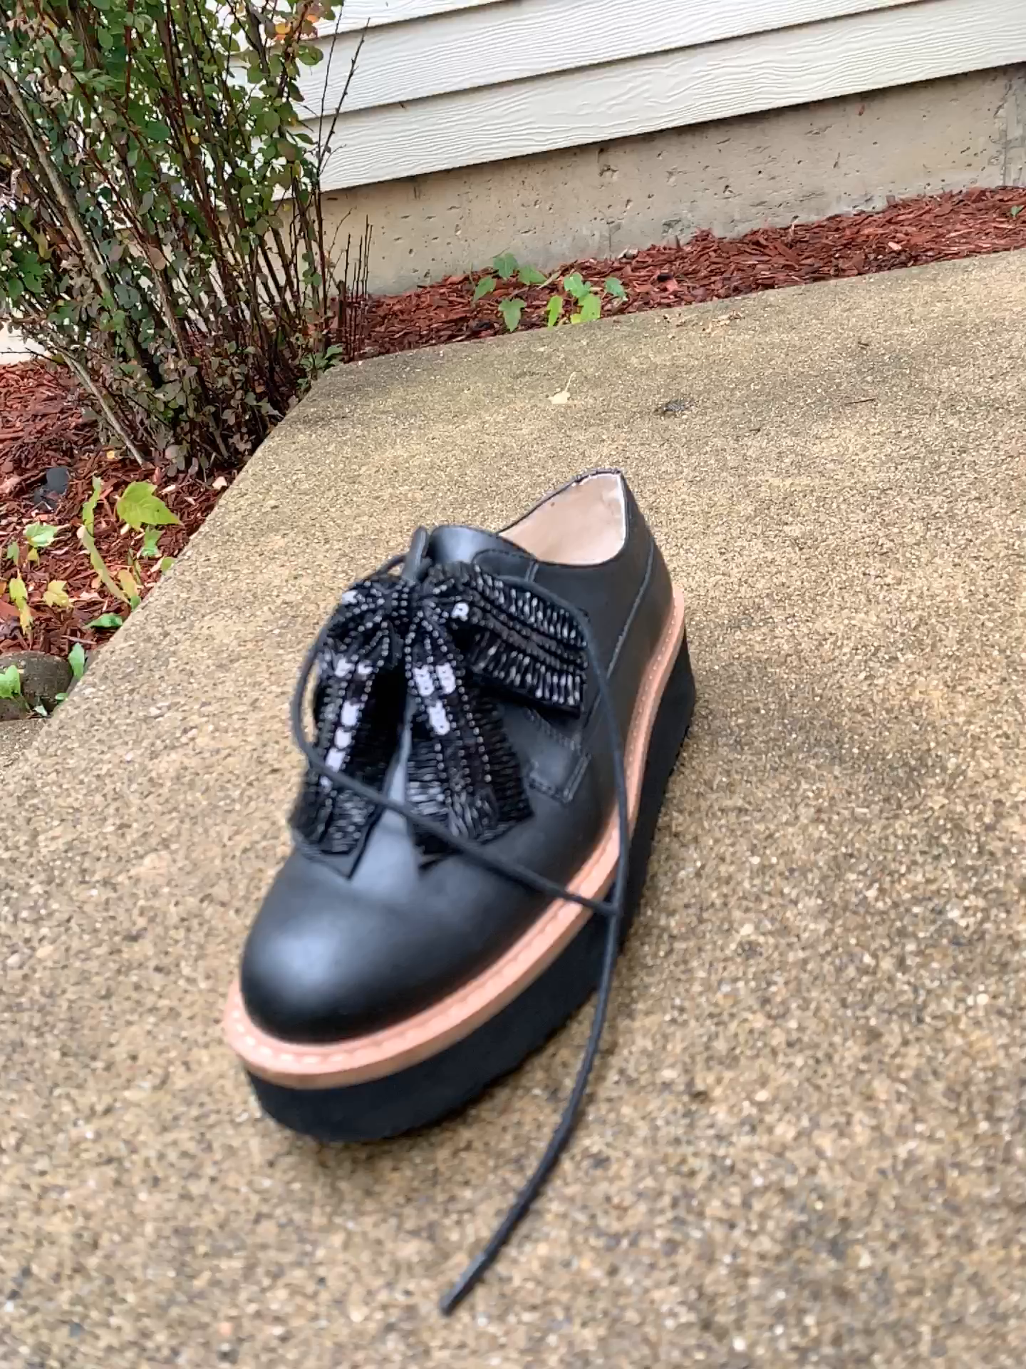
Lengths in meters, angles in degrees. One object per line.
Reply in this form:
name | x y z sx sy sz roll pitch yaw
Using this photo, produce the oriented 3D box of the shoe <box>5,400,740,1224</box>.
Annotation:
shoe | -0.009 0.009 0.345 0.106 0.120 0.259 4 33 24
